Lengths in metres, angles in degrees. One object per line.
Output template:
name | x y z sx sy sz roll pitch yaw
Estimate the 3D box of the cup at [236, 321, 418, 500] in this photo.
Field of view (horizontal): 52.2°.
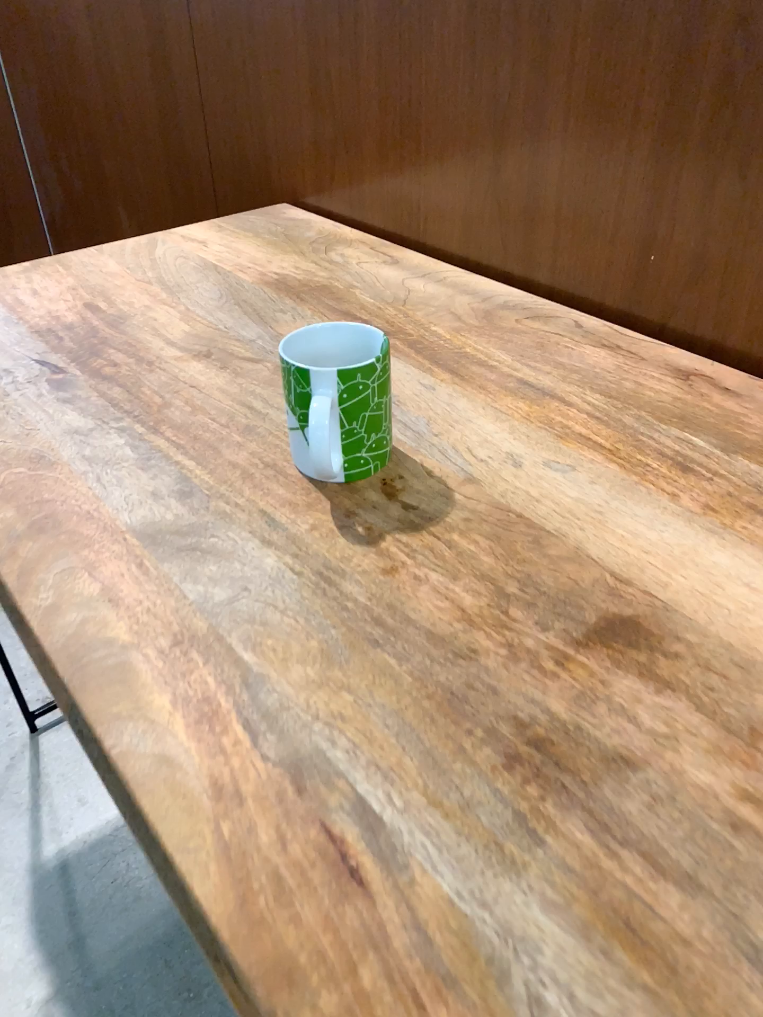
cup | -0.032 -0.073 0.550 0.100 0.070 0.121 5 37 8
